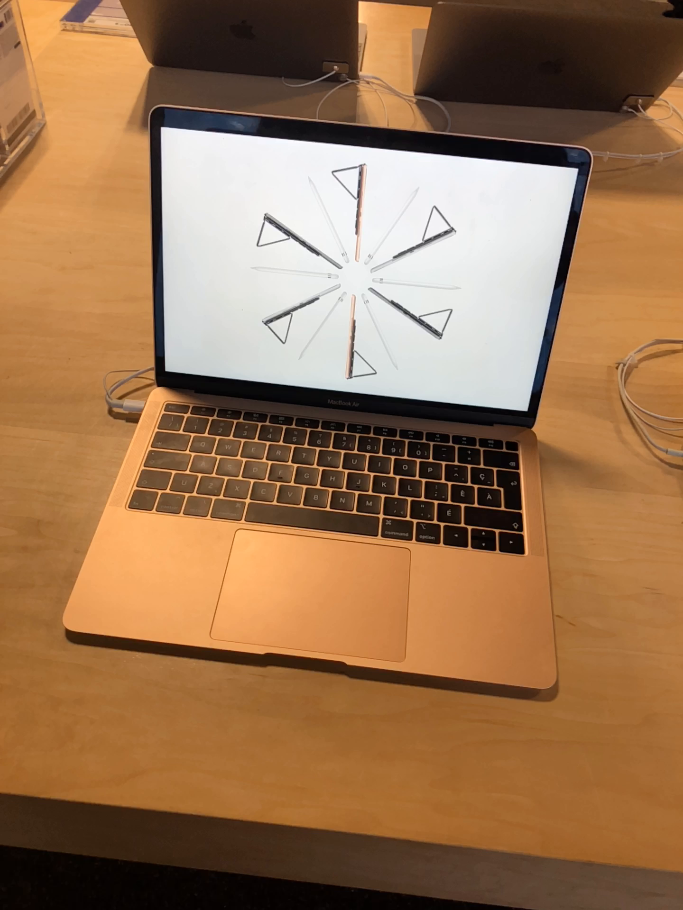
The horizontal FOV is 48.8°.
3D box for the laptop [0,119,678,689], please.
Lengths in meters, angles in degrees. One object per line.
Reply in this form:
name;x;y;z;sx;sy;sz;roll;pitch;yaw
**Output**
laptop;0.003;-0.046;0.472;0.291;0.183;0.284;7;48;3
